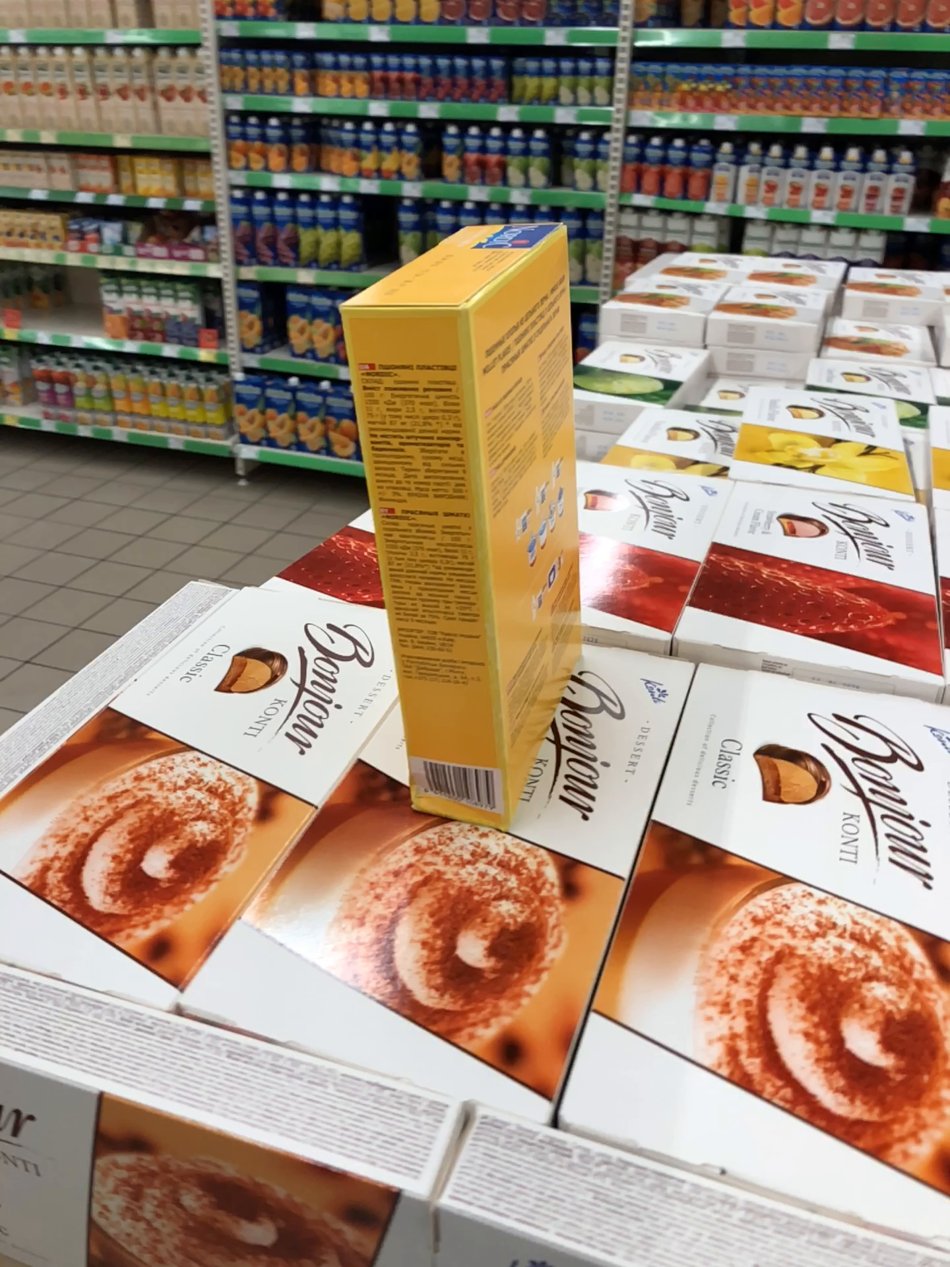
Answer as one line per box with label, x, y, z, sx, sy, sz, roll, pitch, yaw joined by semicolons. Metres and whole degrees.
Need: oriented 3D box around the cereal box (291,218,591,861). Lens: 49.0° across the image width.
cereal box;0.001;-0.045;0.442;0.050;0.219;0.161;4;30;19
